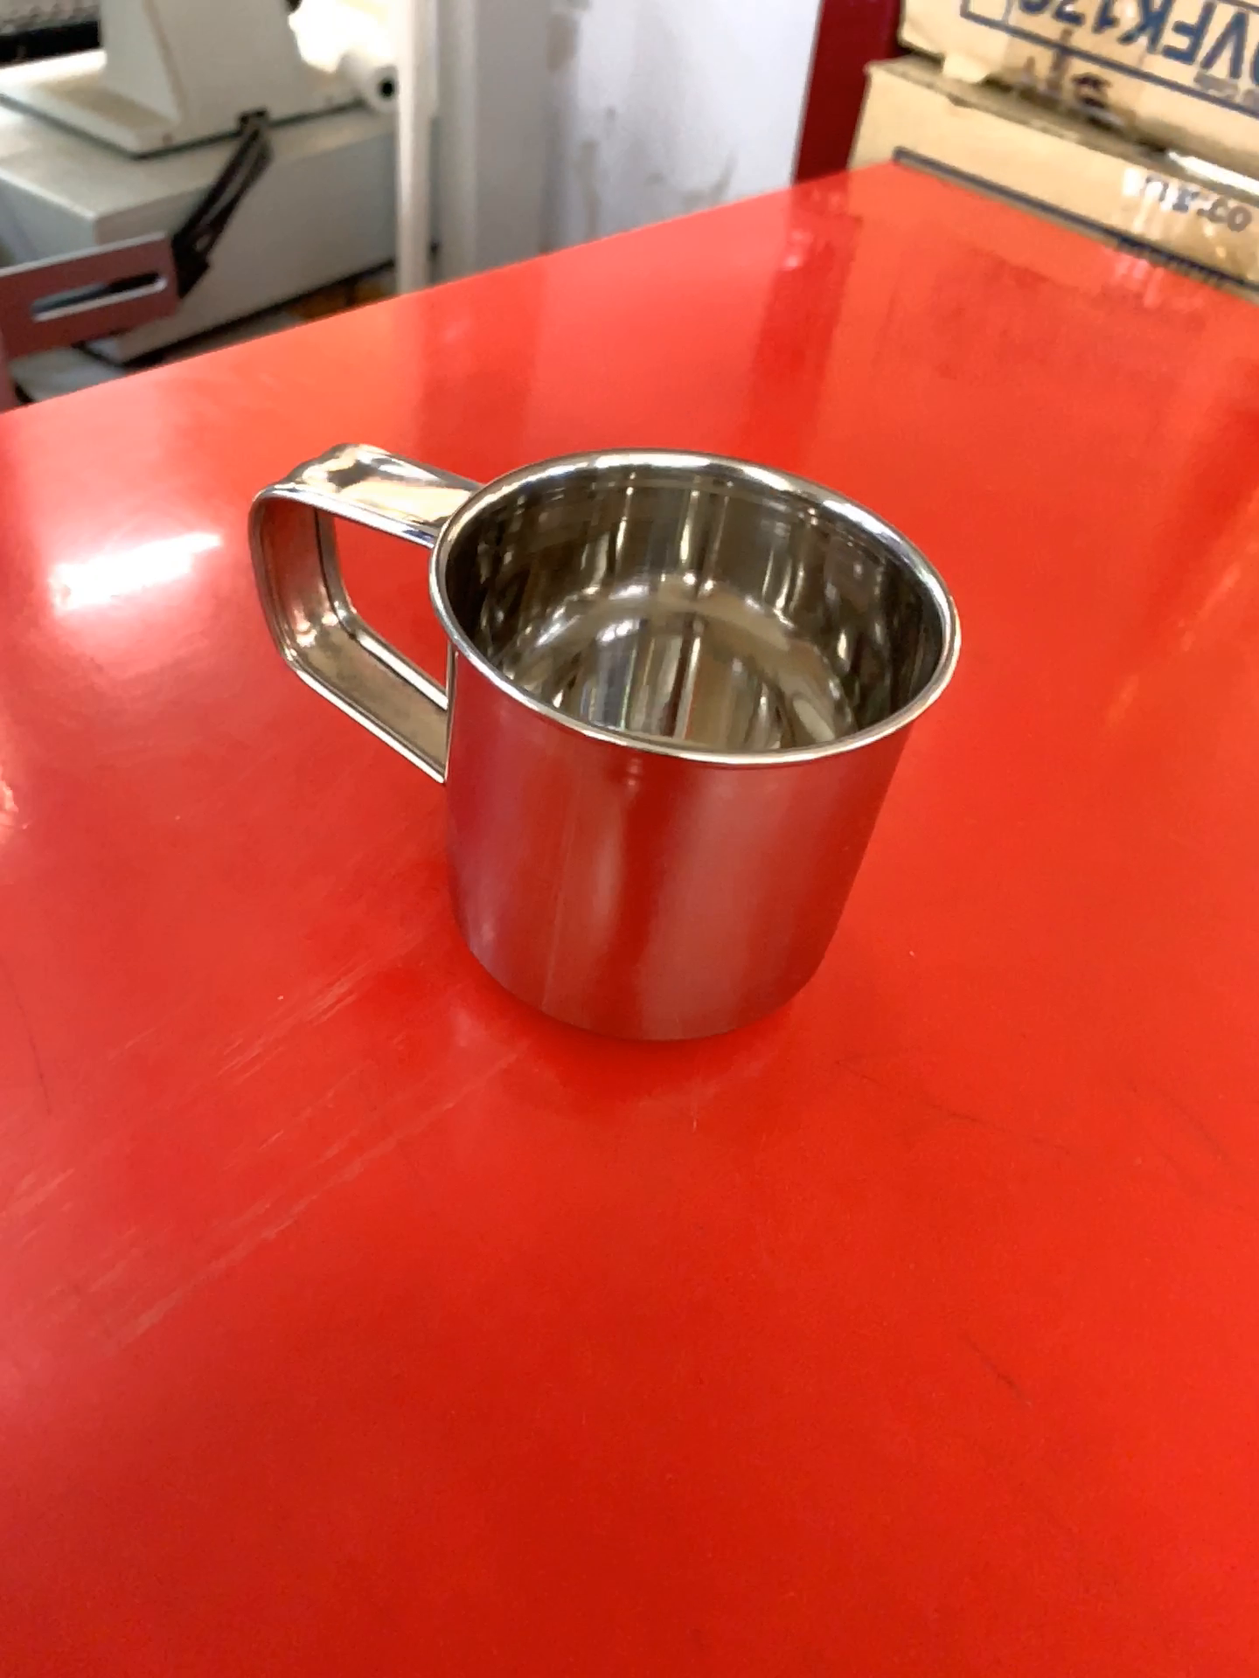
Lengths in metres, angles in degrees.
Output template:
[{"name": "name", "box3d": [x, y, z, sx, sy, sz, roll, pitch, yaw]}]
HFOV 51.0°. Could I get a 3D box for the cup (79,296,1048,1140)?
[{"name": "cup", "box3d": [-0.008, -0.025, 0.205, 0.109, 0.065, 0.080, 23, 46, 15]}]
